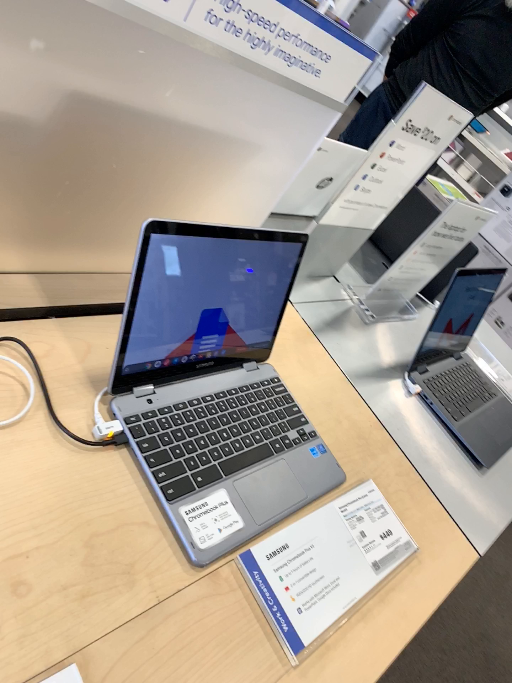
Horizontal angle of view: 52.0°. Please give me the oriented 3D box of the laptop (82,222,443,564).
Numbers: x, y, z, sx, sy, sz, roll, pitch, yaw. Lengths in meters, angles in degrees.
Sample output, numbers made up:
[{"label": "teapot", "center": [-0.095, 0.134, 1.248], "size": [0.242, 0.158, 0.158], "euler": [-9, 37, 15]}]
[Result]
[{"label": "laptop", "center": [0.011, 0.036, 0.614], "size": [0.275, 0.183, 0.275], "euler": [-10, 59, -50]}]
